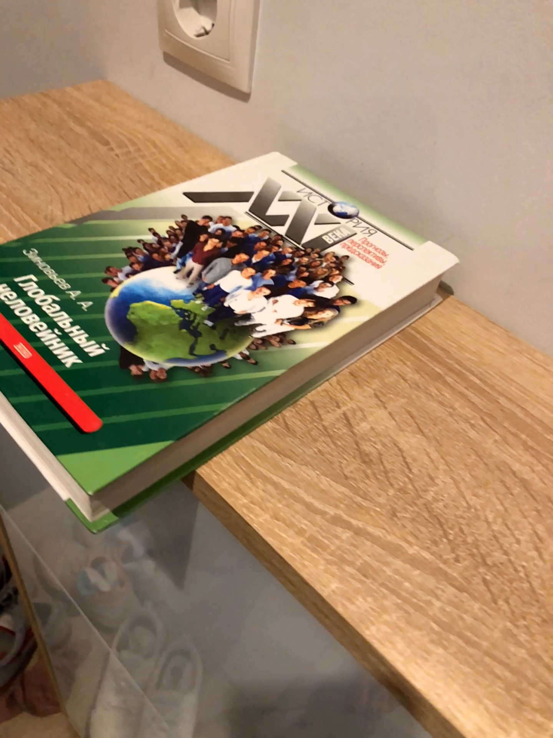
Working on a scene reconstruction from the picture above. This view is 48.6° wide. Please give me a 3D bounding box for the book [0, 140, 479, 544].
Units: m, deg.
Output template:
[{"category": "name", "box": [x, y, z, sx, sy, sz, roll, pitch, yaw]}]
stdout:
[{"category": "book", "box": [-0.029, -0.041, 0.274, 0.221, 0.020, 0.140, -31, 58, -34]}]
